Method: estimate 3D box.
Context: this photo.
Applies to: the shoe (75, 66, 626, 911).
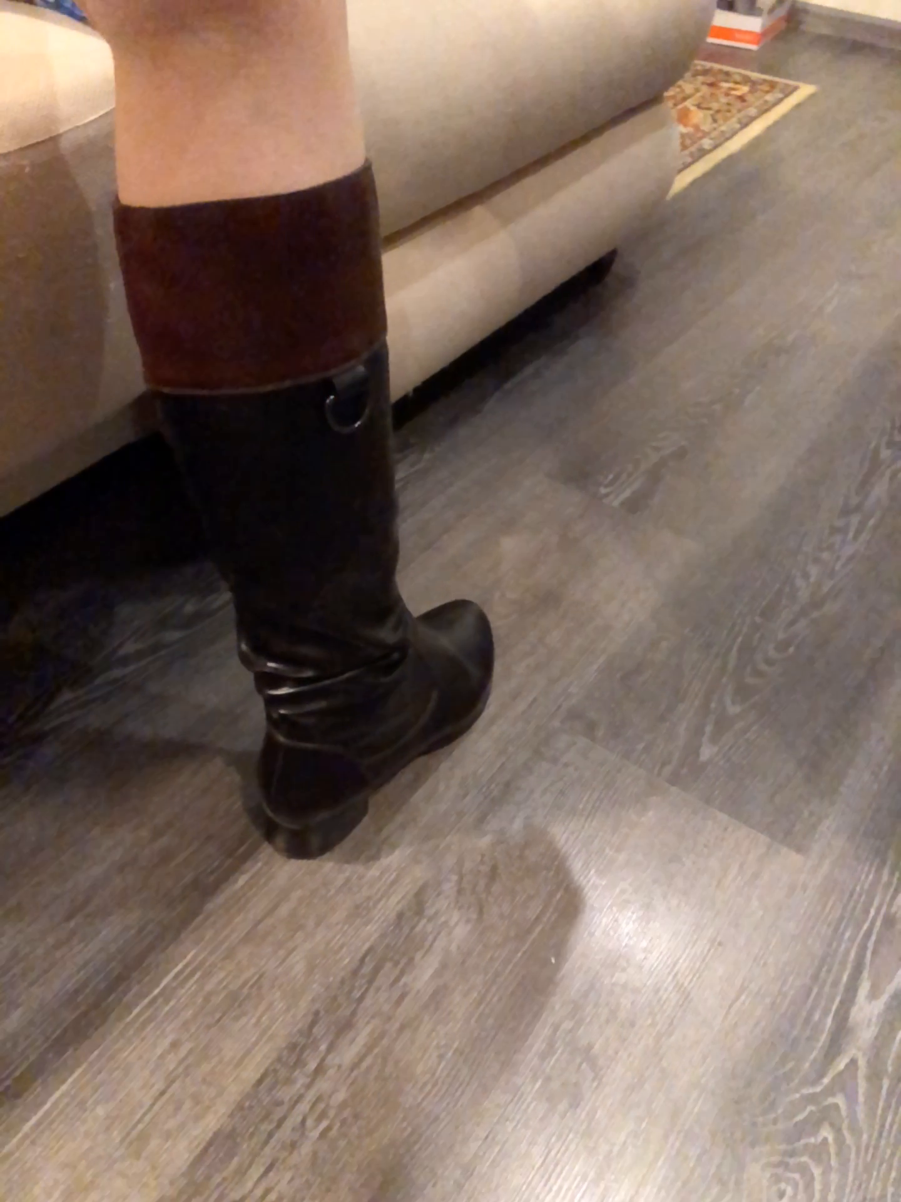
[{"bbox_3d":[-0.037,-0.054,0.596,0.110,0.417,0.271,25,47,22],"label":"shoe"}]
